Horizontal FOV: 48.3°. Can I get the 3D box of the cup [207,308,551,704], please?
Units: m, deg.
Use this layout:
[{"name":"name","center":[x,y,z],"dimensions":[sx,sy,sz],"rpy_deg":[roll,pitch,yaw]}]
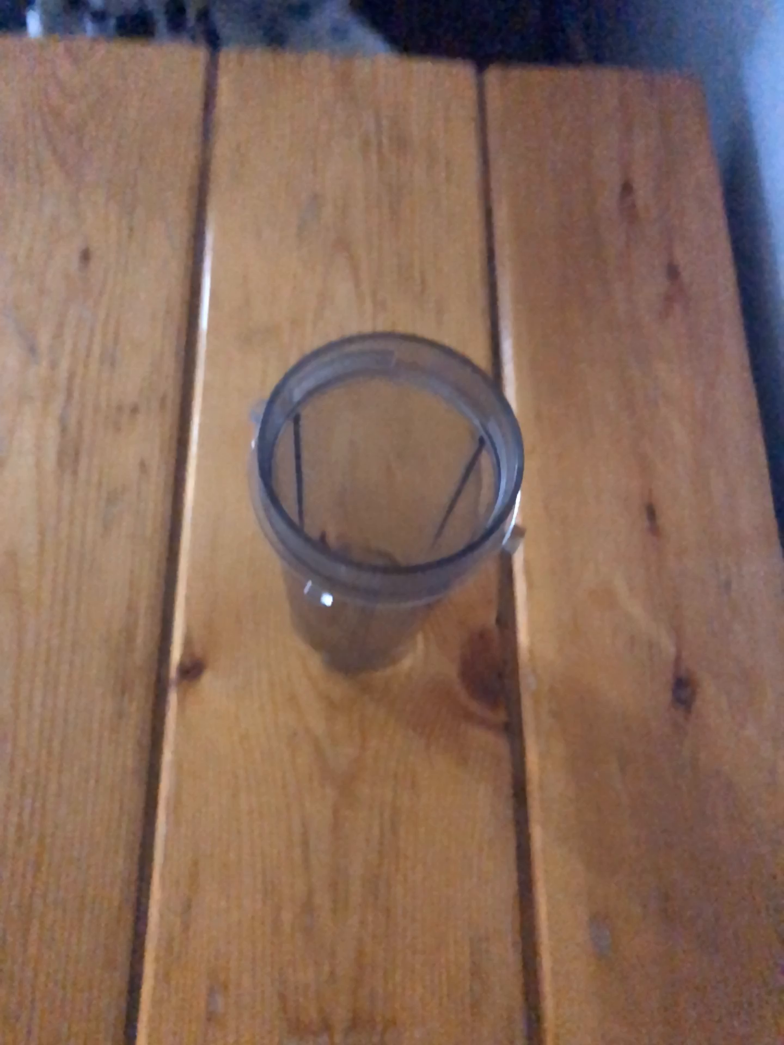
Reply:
[{"name":"cup","center":[-0.011,0.009,0.345],"dimensions":[0.090,0.190,0.080],"rpy_deg":[-7,69,-6]}]
